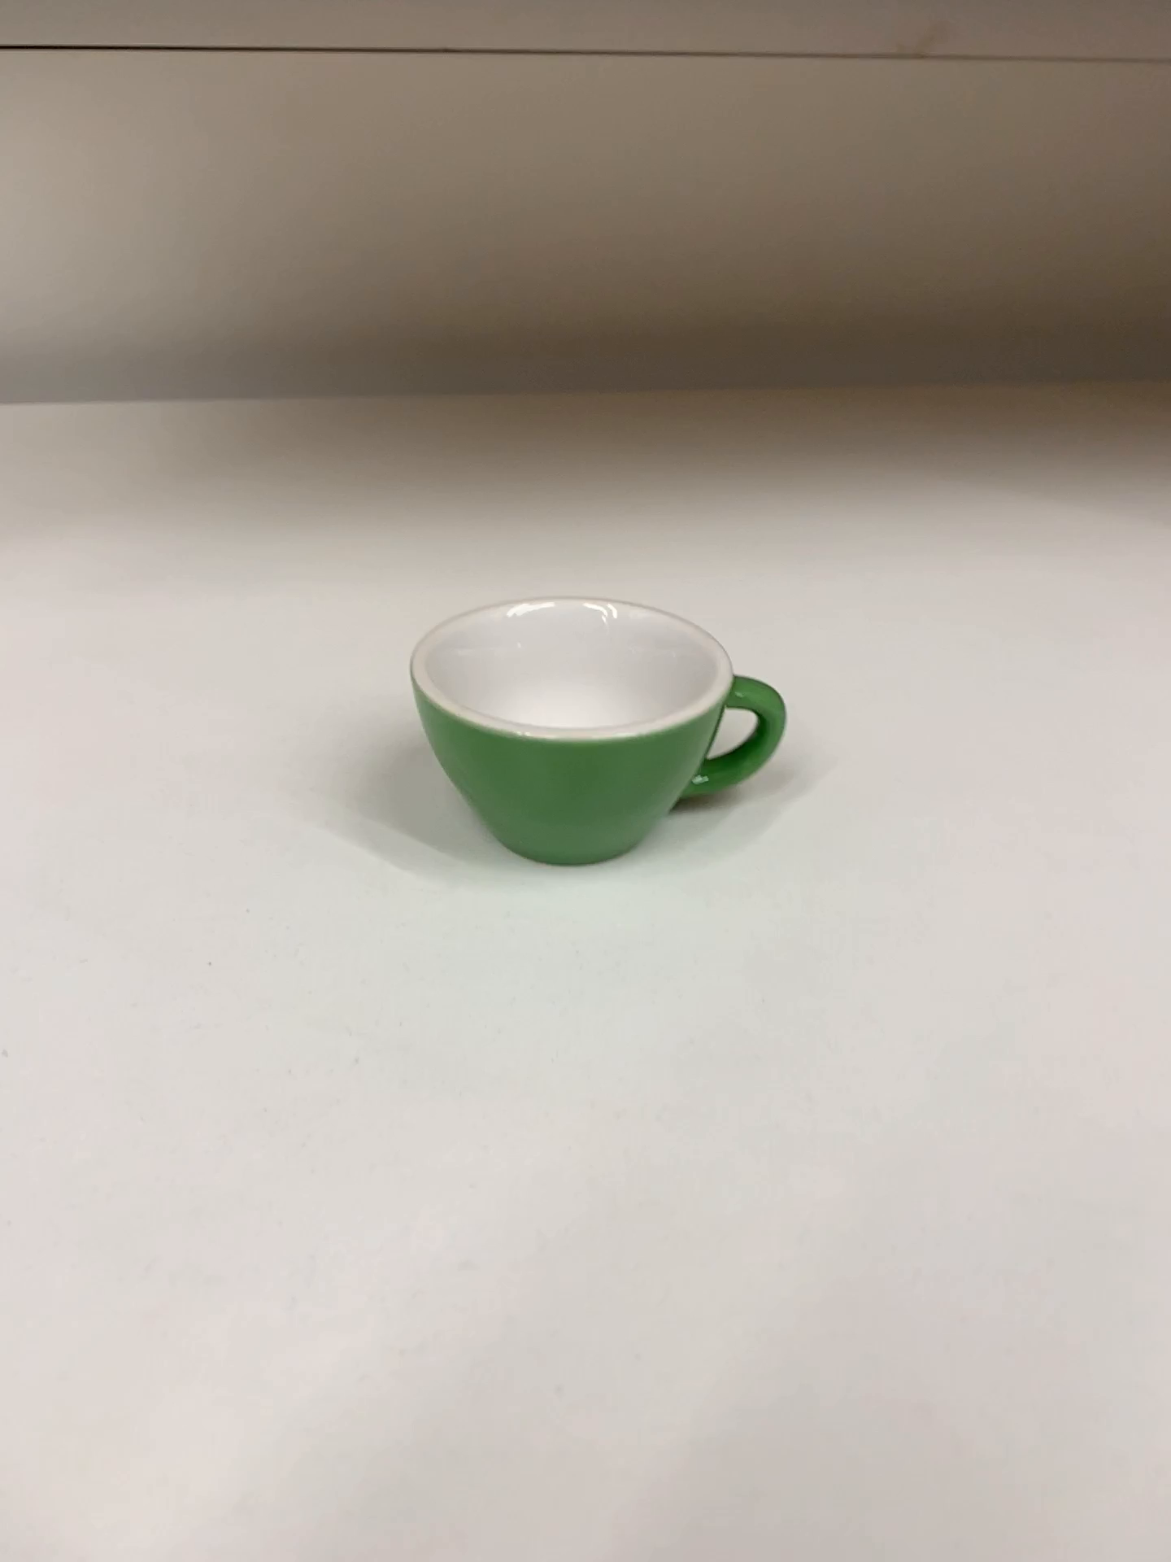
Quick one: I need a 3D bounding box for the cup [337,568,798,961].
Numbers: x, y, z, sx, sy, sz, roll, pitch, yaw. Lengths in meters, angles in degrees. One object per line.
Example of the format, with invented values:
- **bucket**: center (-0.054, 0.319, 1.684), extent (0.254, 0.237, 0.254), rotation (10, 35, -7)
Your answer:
- **cup**: center (-0.007, -0.006, 0.218), extent (0.070, 0.040, 0.060), rotation (-4, 32, -8)
